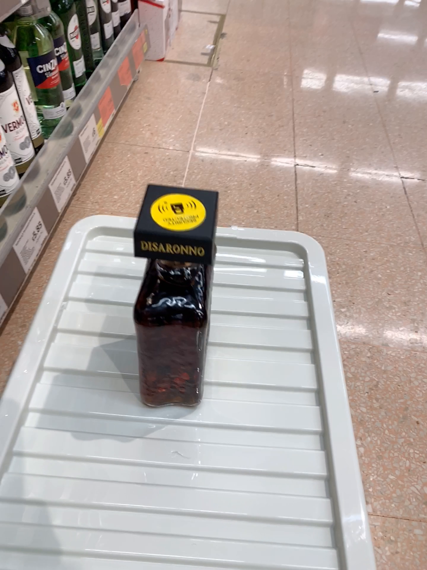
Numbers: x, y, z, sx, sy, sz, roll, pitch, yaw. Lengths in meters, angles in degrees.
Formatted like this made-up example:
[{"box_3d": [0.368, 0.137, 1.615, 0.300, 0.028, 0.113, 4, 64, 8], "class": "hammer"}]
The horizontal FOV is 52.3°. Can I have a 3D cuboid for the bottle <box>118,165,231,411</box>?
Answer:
[{"box_3d": [-0.031, 0.014, 0.402, 0.070, 0.208, 0.112, 6, 48, 0], "class": "bottle"}]
